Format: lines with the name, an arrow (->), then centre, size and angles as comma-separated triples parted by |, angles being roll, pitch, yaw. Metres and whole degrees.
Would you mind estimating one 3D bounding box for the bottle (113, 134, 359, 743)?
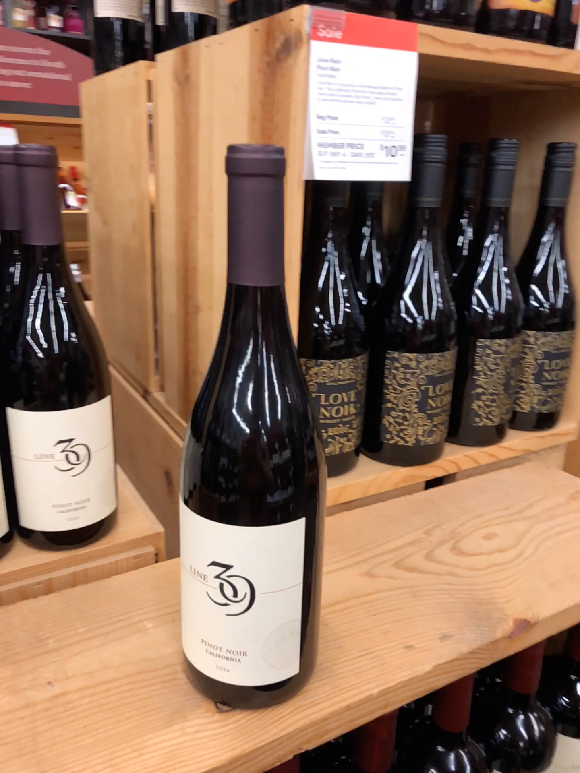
bottle -> -0.024, 0.026, 0.325 | 0.080, 0.283, 0.080 | 2, 18, -1
